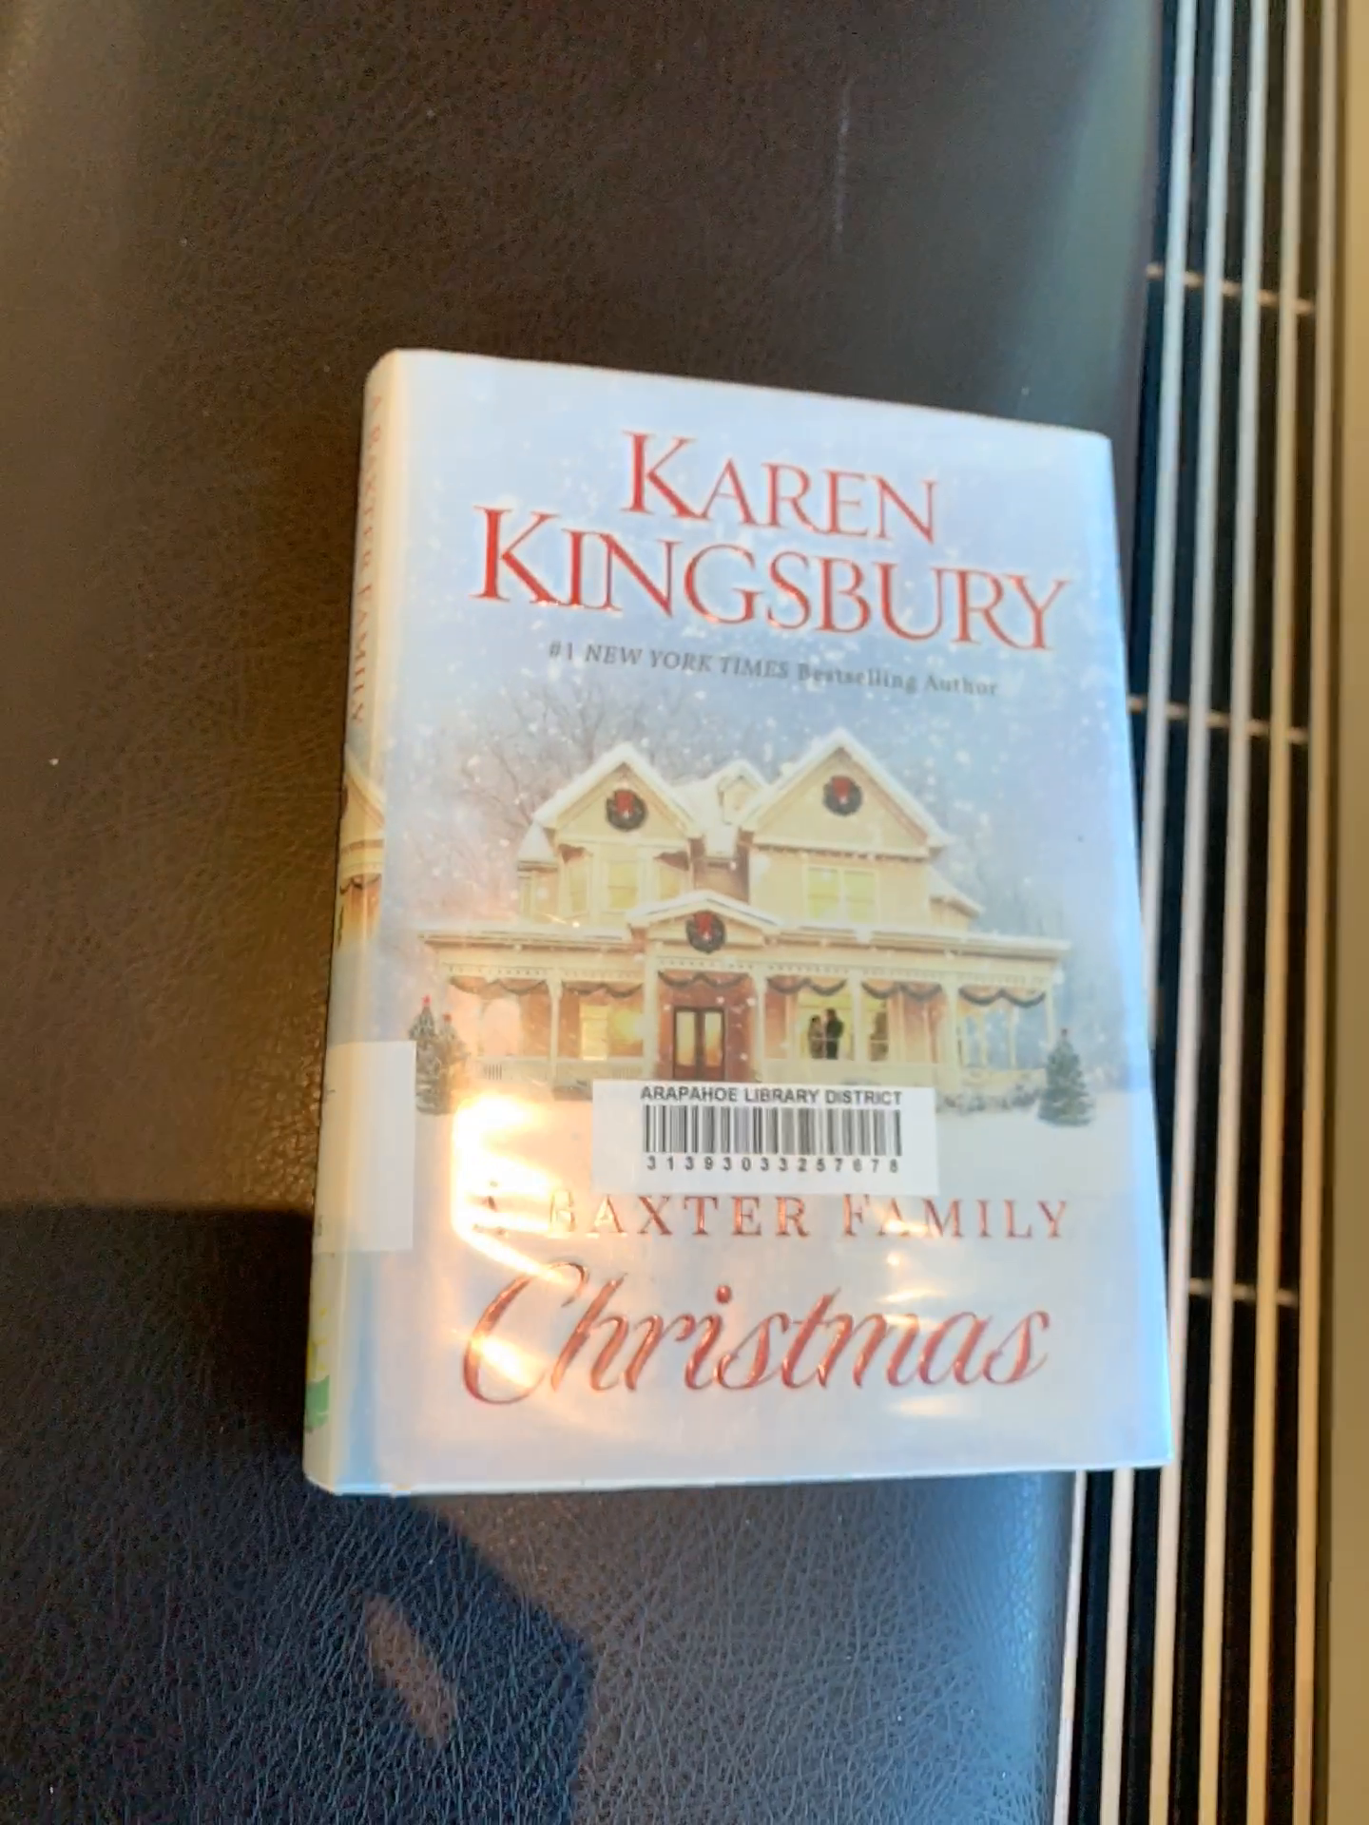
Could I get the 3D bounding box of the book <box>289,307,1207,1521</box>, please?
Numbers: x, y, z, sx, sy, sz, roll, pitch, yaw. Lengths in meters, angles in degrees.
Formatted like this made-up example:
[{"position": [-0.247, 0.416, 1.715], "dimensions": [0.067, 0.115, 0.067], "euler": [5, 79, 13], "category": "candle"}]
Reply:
[{"position": [0.012, -0.002, 0.232], "dimensions": [0.134, 0.023, 0.180], "euler": [3, 79, -11], "category": "book"}]
